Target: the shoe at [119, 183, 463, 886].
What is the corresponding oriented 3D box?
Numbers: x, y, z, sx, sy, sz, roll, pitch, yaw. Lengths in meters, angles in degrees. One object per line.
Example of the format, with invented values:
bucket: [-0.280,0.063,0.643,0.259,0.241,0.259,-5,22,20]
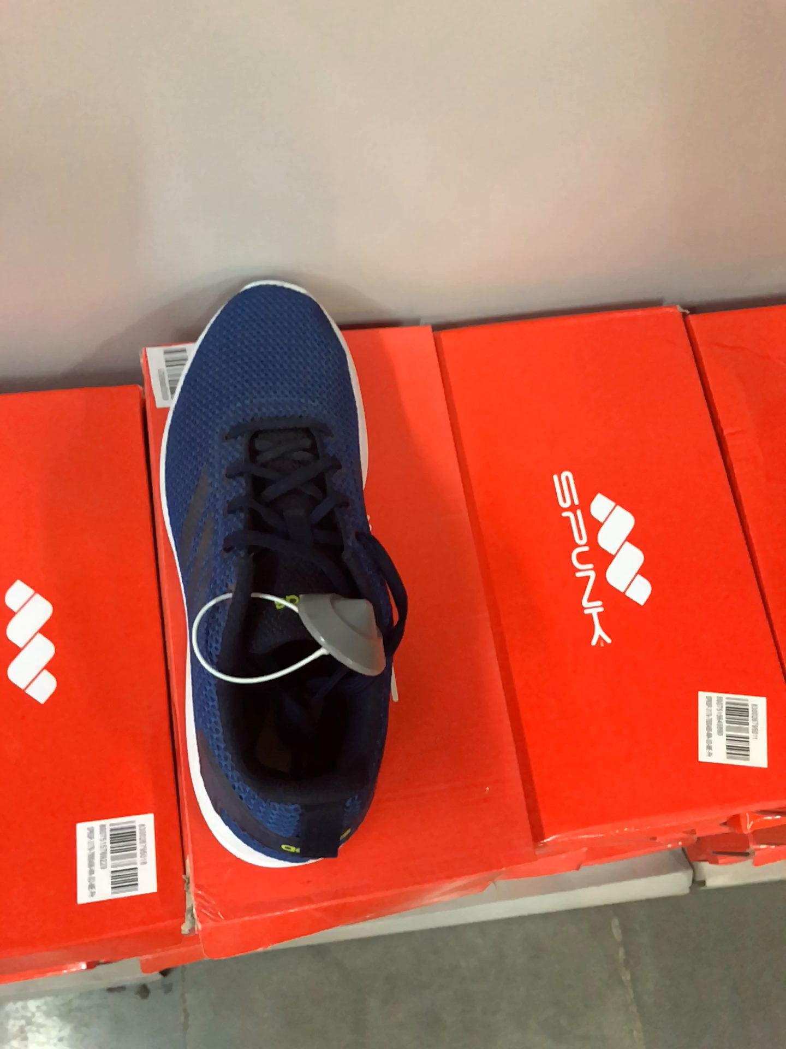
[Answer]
shoe: [-0.060,-0.002,0.427,0.113,0.114,0.316,-6,67,-10]
